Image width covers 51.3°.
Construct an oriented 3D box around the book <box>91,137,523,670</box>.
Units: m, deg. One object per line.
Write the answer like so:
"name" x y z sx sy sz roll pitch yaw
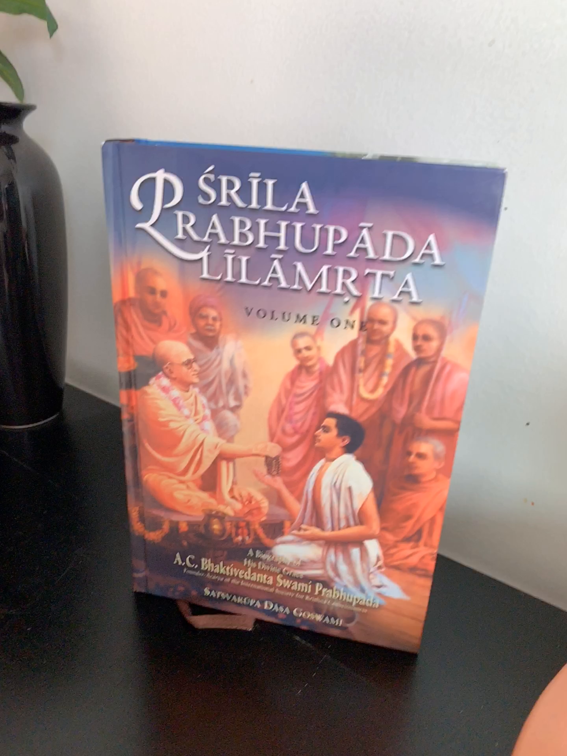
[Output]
"book" 0.000 0.019 0.275 0.161 0.233 0.030 9 24 12
